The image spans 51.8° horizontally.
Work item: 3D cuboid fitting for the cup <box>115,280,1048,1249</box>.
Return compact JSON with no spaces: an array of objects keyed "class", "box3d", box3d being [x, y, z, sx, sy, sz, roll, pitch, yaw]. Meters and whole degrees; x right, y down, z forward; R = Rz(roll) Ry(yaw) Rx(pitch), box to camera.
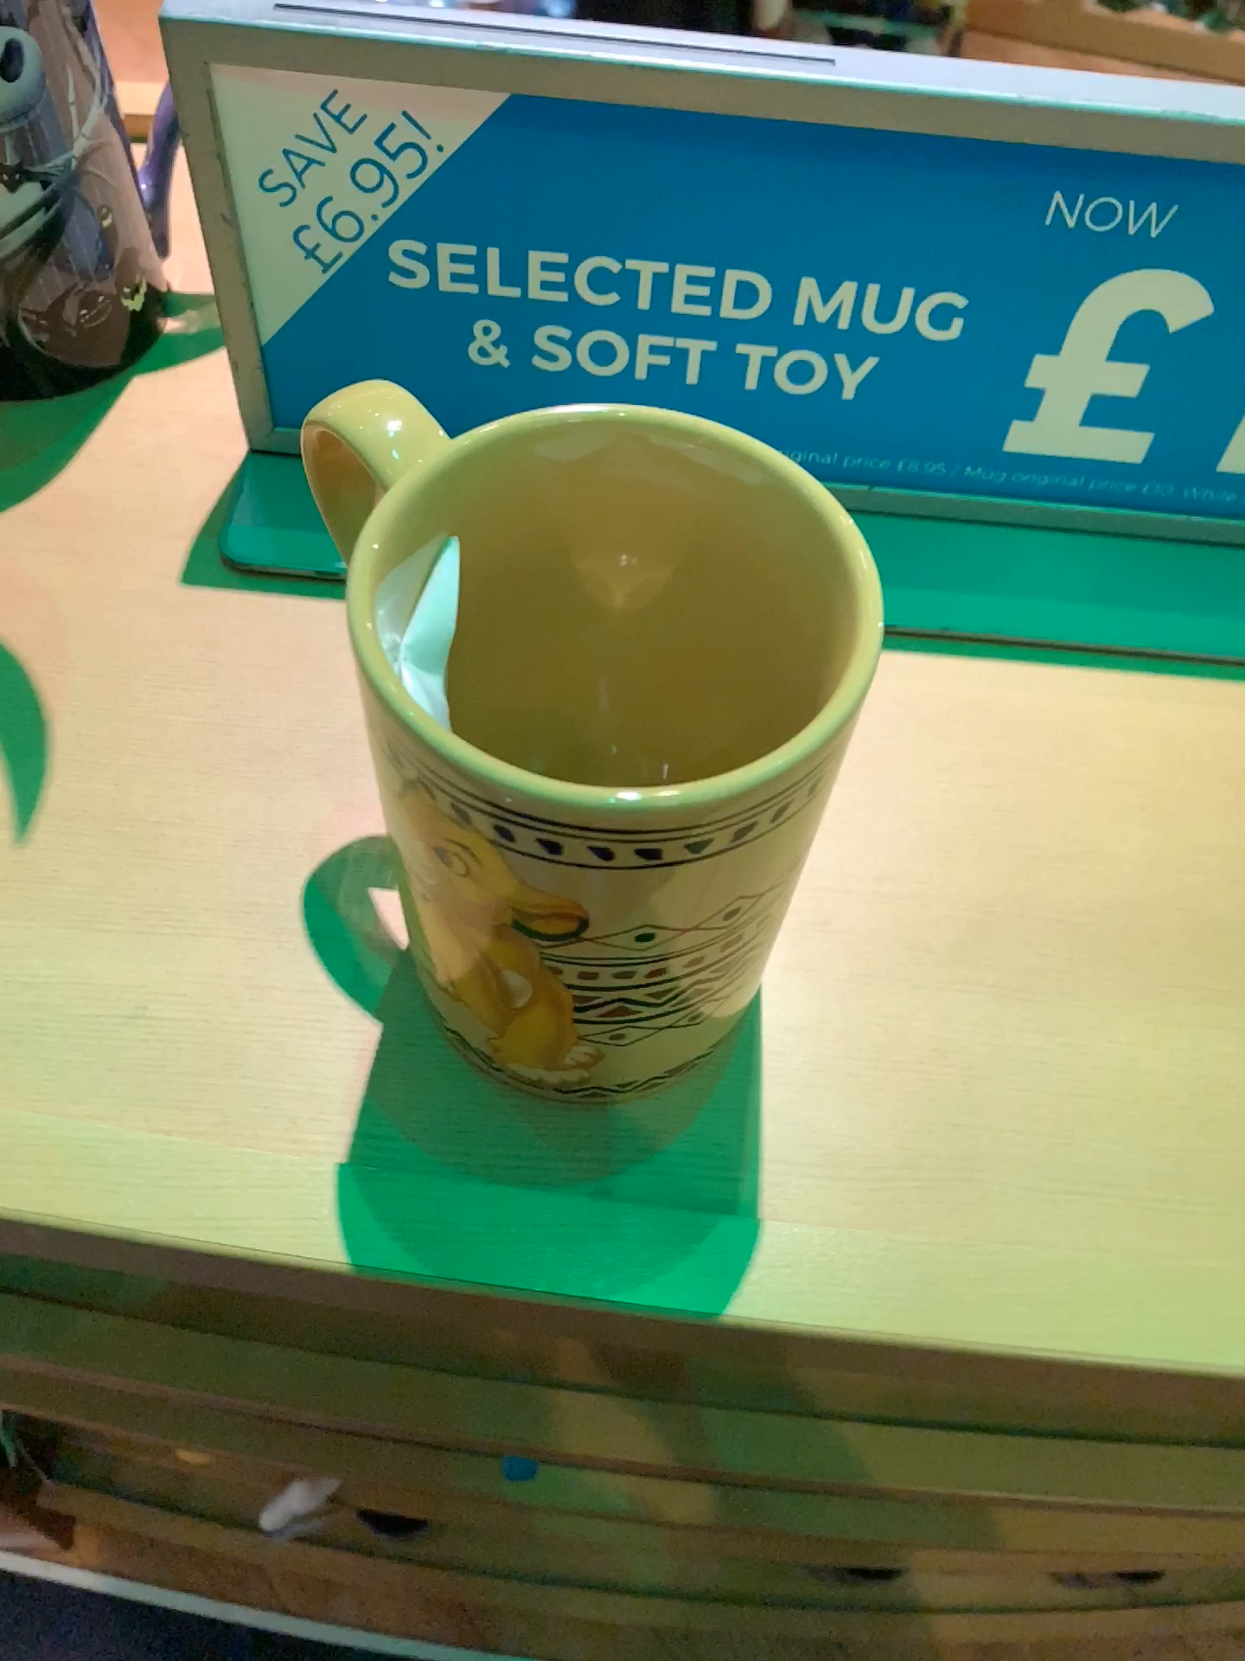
[{"class":"cup","box3d":[-0.012,-0.011,0.262,0.119,0.121,0.100,40,59,19]}]
